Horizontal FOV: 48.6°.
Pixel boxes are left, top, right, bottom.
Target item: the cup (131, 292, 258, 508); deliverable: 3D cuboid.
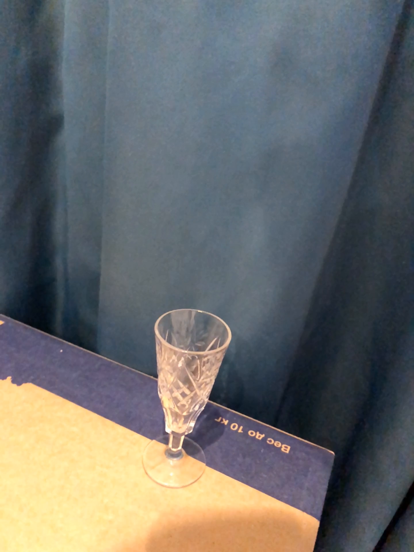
[{"bbox_3d":[-0.012,0.080,0.300,0.051,0.118,0.054,5,28,-3],"label":"cup"}]
